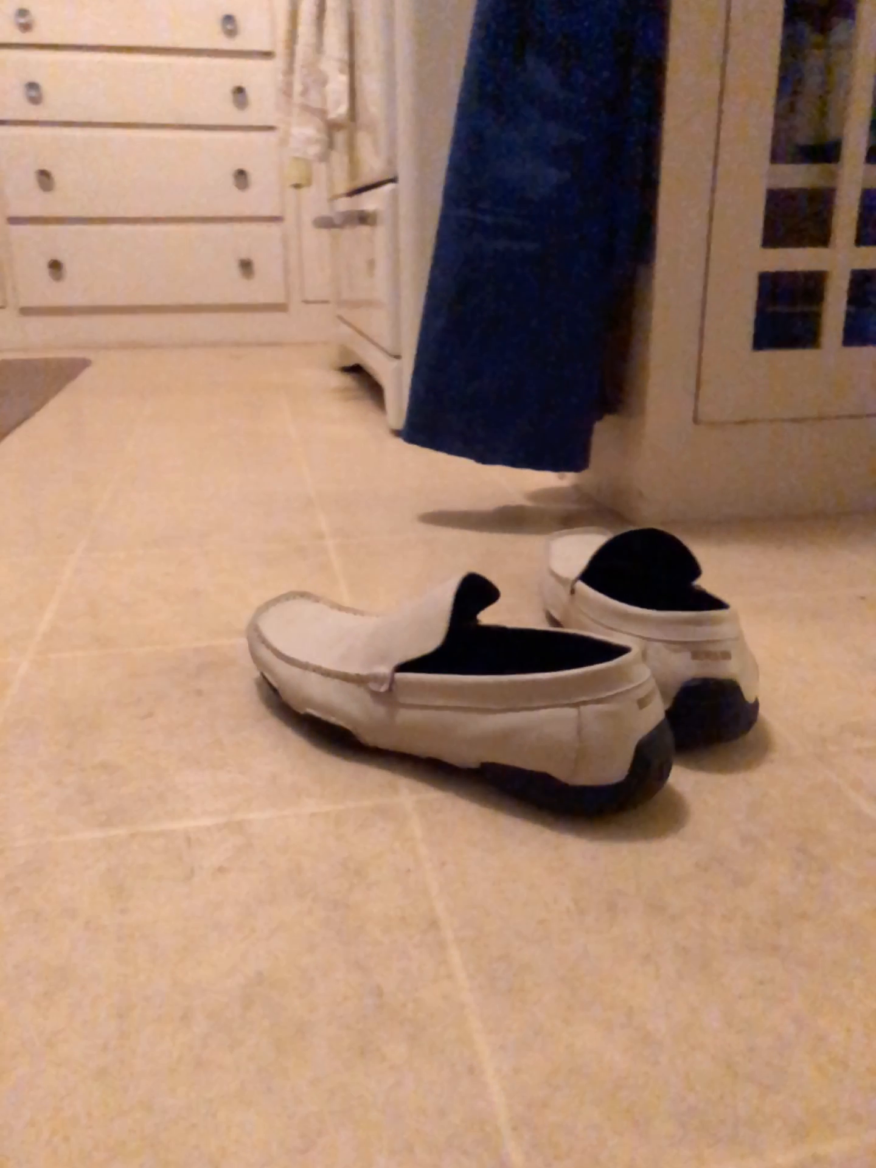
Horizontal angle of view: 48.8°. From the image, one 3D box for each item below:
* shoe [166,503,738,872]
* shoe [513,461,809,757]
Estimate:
[{"bbox_3d":[-0.005,0.037,0.544,0.307,0.097,0.111,14,24,34],"label":"shoe"},{"bbox_3d":[0.127,-0.002,0.650,0.110,0.097,0.290,-2,20,-4],"label":"shoe"}]
